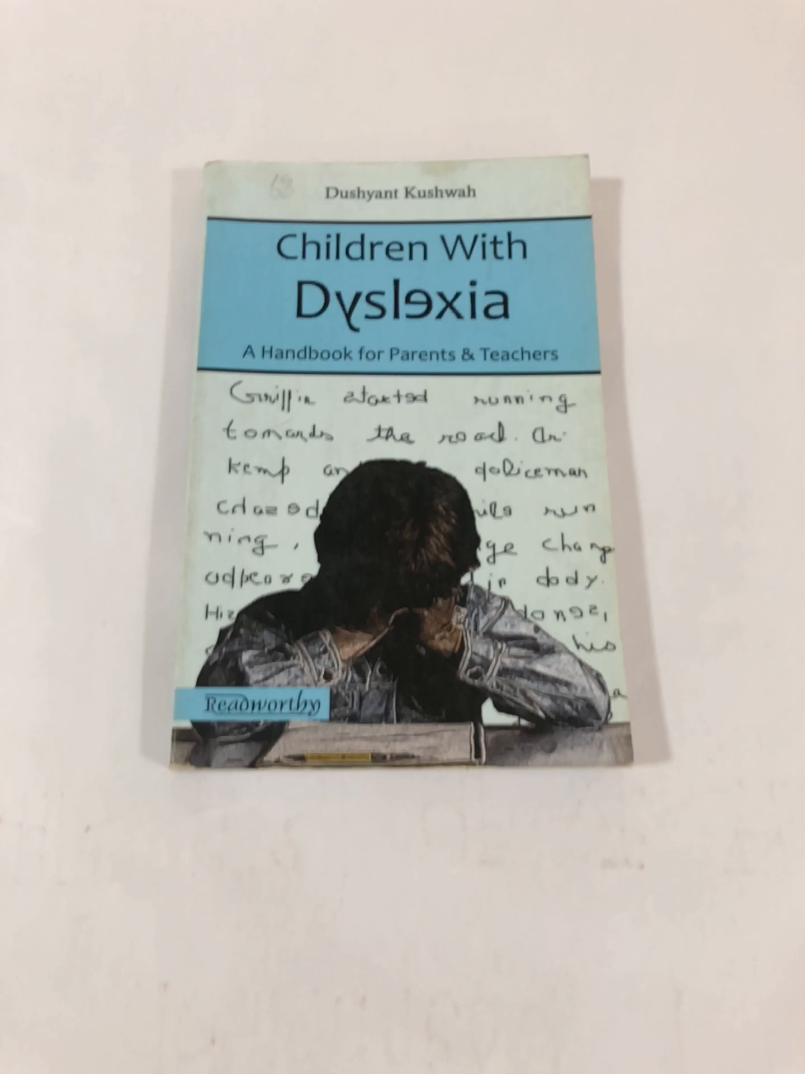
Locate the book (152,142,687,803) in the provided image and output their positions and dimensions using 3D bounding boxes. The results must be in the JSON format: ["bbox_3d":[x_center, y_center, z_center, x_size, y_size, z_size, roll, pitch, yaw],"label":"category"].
[{"bbox_3d":[0.003,-0.028,0.298,0.150,0.030,0.220,-1,74,-1],"label":"book"}]
